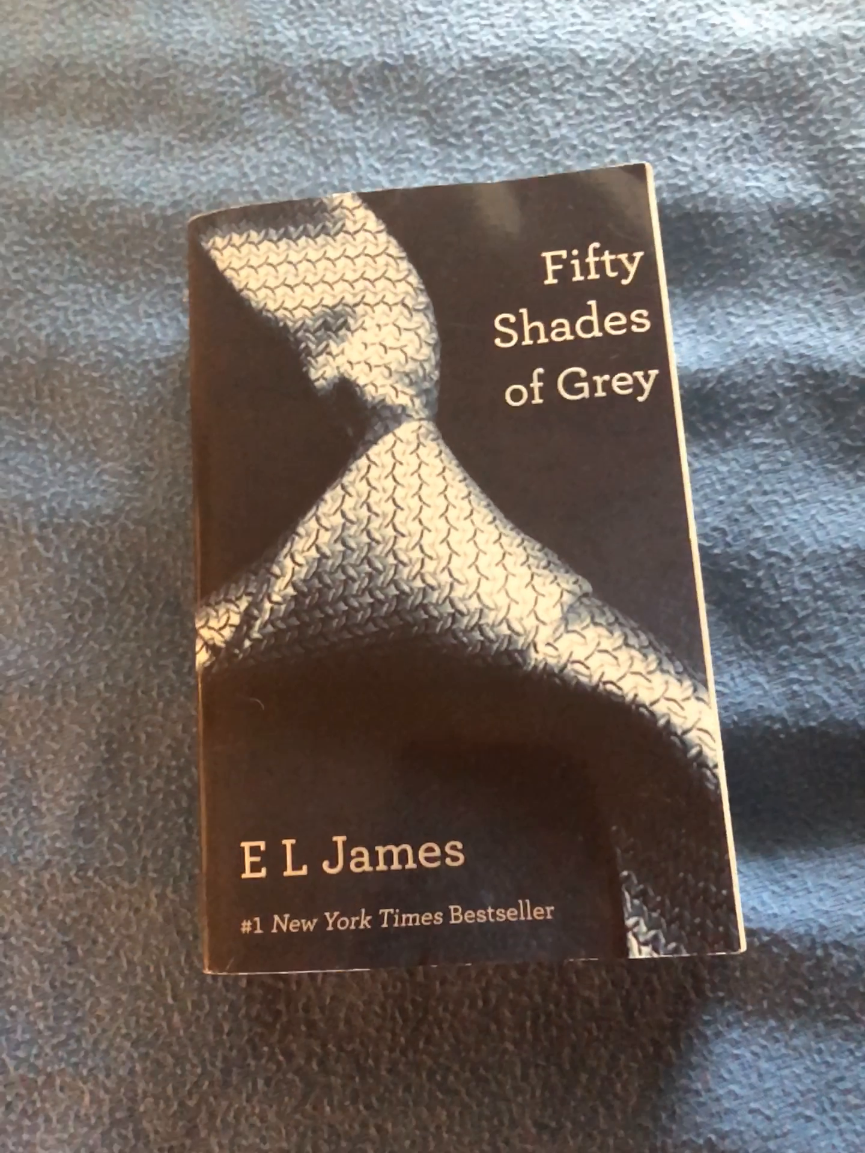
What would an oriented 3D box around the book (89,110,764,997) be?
[{"bbox_3d":[-0.008,-0.008,0.254,0.150,0.040,0.210,-5,77,6],"label":"book"}]
